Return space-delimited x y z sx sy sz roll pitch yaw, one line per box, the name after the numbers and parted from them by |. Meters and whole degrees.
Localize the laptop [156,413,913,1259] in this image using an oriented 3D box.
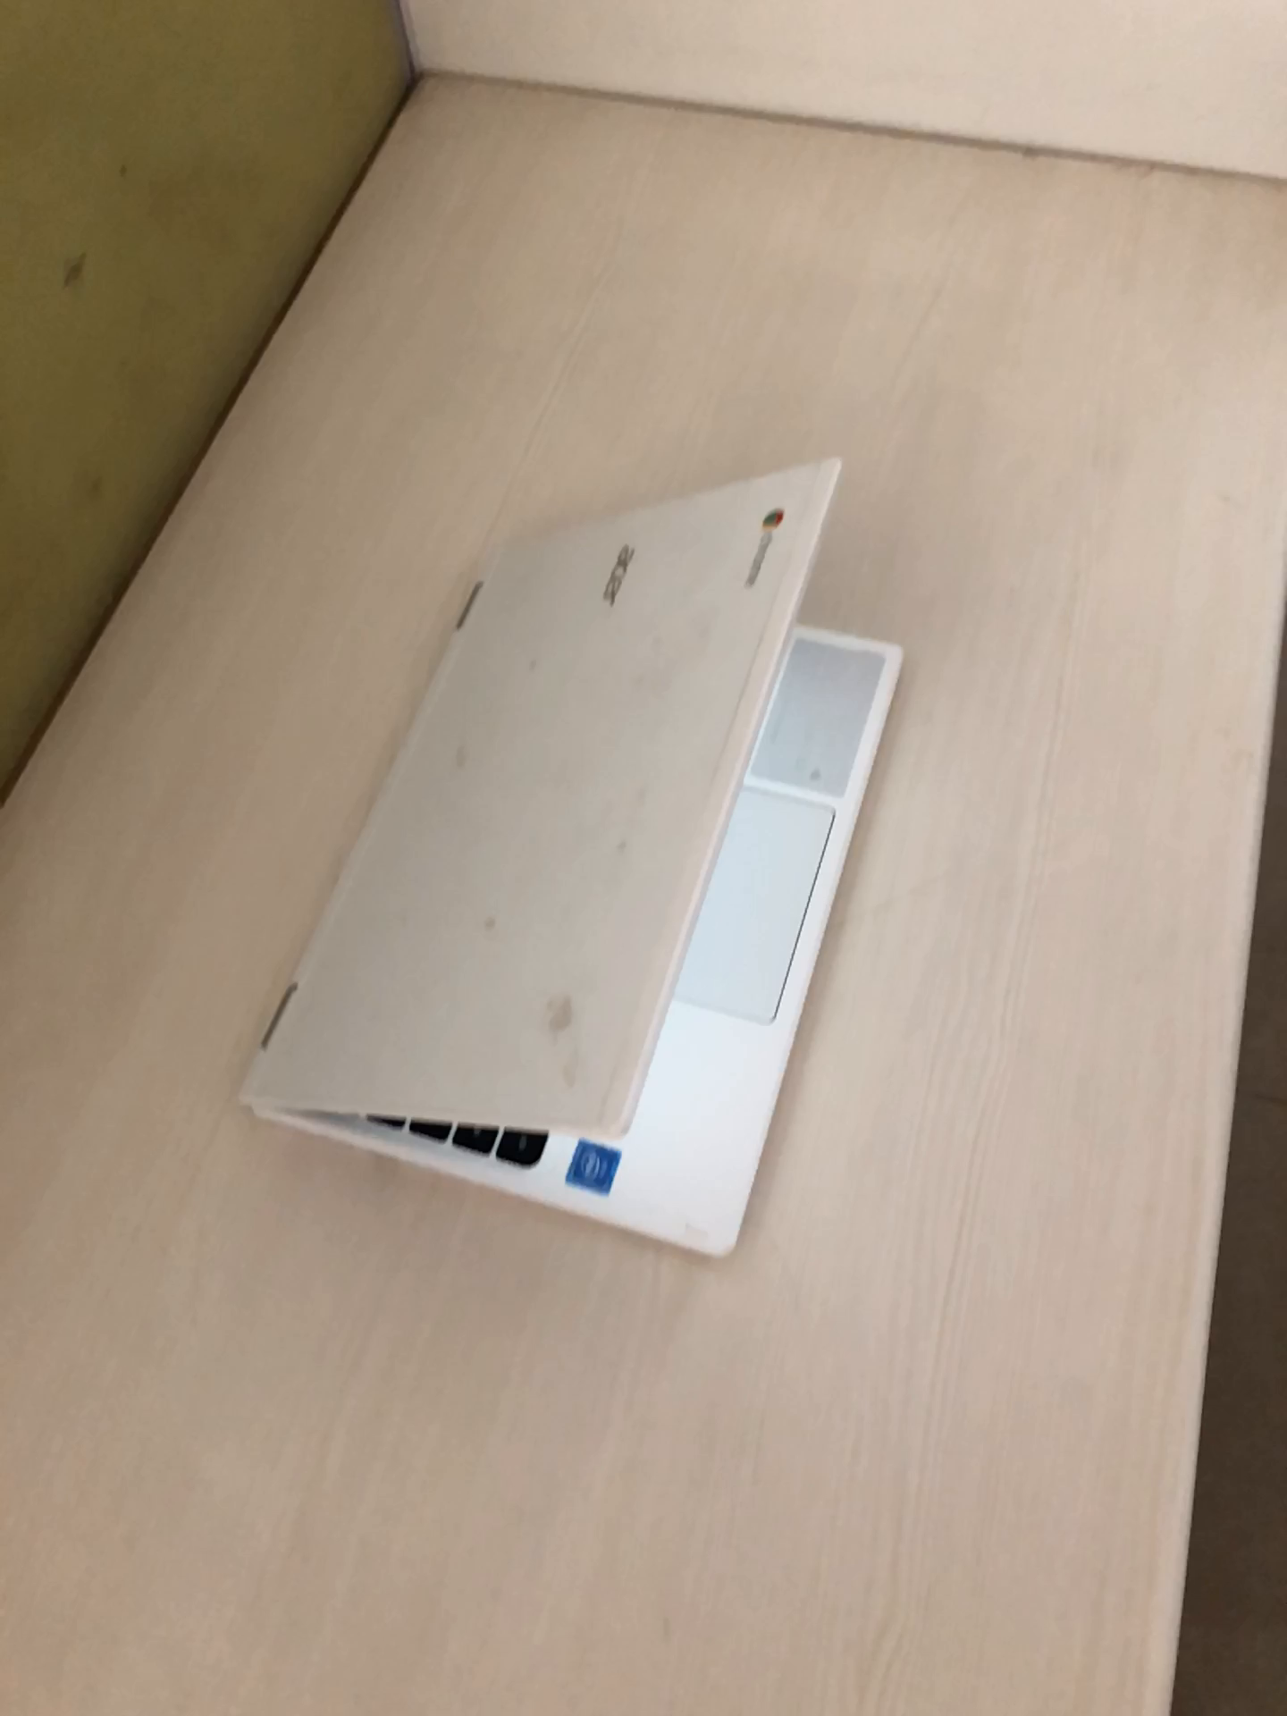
-0.023 -0.020 0.570 0.196 0.105 0.290 14 62 10 | laptop
